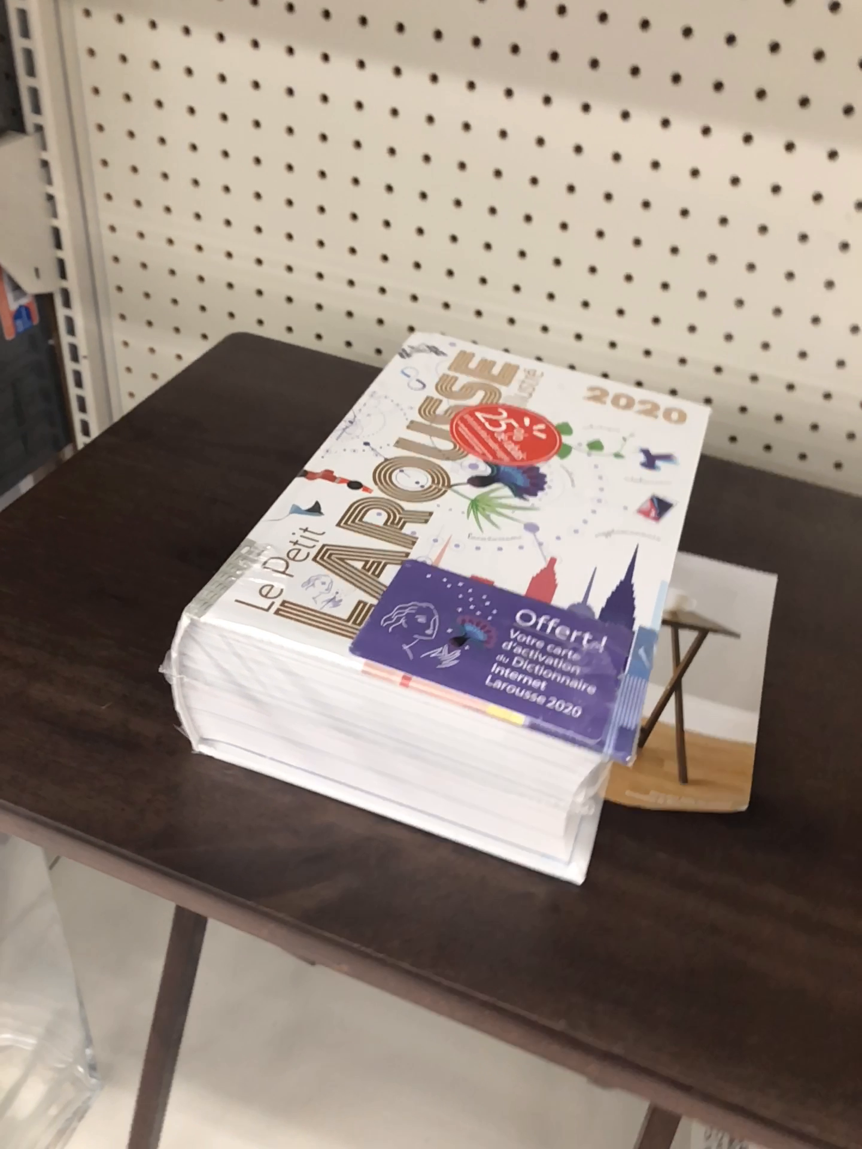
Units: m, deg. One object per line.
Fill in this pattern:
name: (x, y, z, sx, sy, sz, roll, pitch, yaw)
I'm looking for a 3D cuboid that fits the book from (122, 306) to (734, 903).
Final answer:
book: (0.018, -0.013, 0.388, 0.170, 0.069, 0.232, 17, 41, 10)
